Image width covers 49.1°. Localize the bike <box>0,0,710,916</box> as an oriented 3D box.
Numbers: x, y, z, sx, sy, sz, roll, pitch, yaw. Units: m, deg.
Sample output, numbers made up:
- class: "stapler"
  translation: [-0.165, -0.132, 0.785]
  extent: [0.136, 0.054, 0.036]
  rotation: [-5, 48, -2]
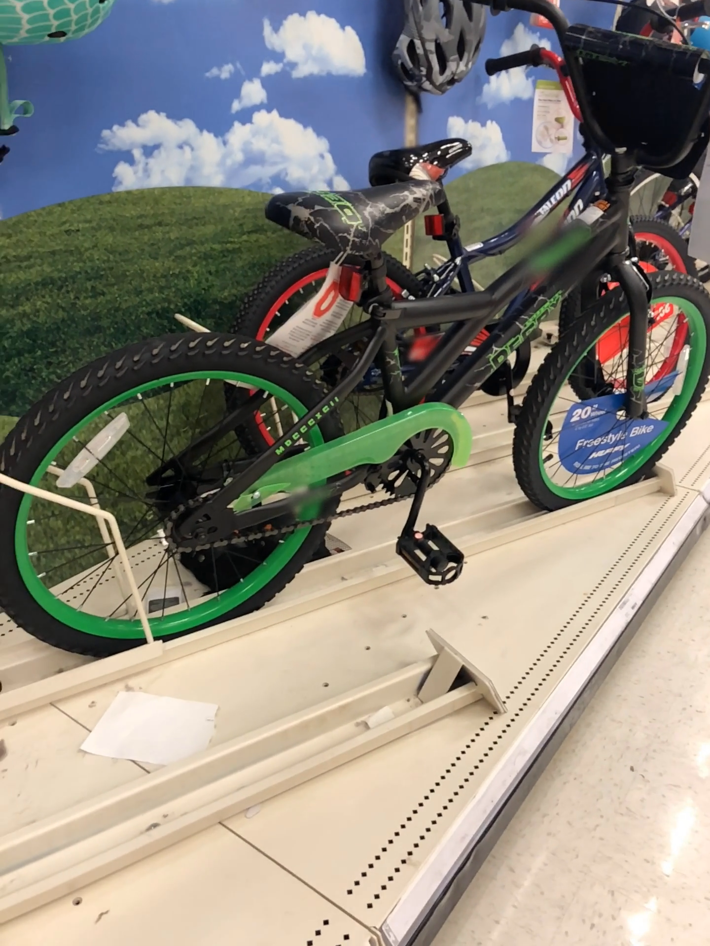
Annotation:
- class: "bike"
  translation: [0.130, -0.257, 1.159]
  extent: [1.365, 0.879, 0.629]
  rotation: [-16, 30, -30]
